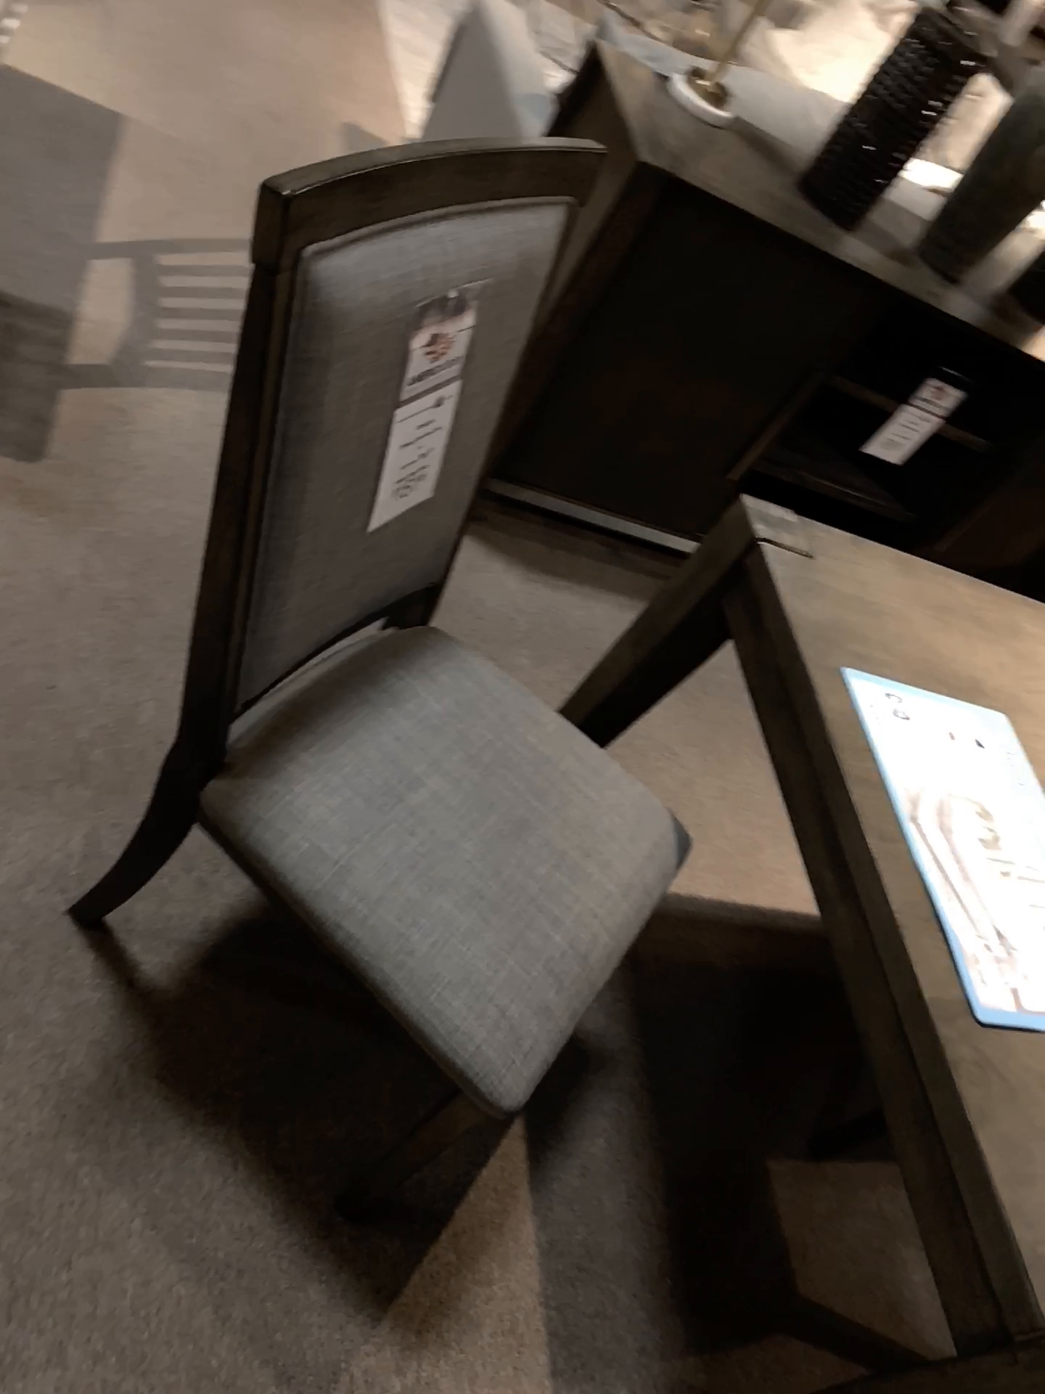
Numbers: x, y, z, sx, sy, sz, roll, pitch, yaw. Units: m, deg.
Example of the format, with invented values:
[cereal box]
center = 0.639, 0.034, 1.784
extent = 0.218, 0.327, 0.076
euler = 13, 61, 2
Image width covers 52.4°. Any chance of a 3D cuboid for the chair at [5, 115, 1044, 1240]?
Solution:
[chair]
center = -0.059, 0.041, 1.183
extent = 0.642, 0.997, 0.517
euler = 42, 42, 4
